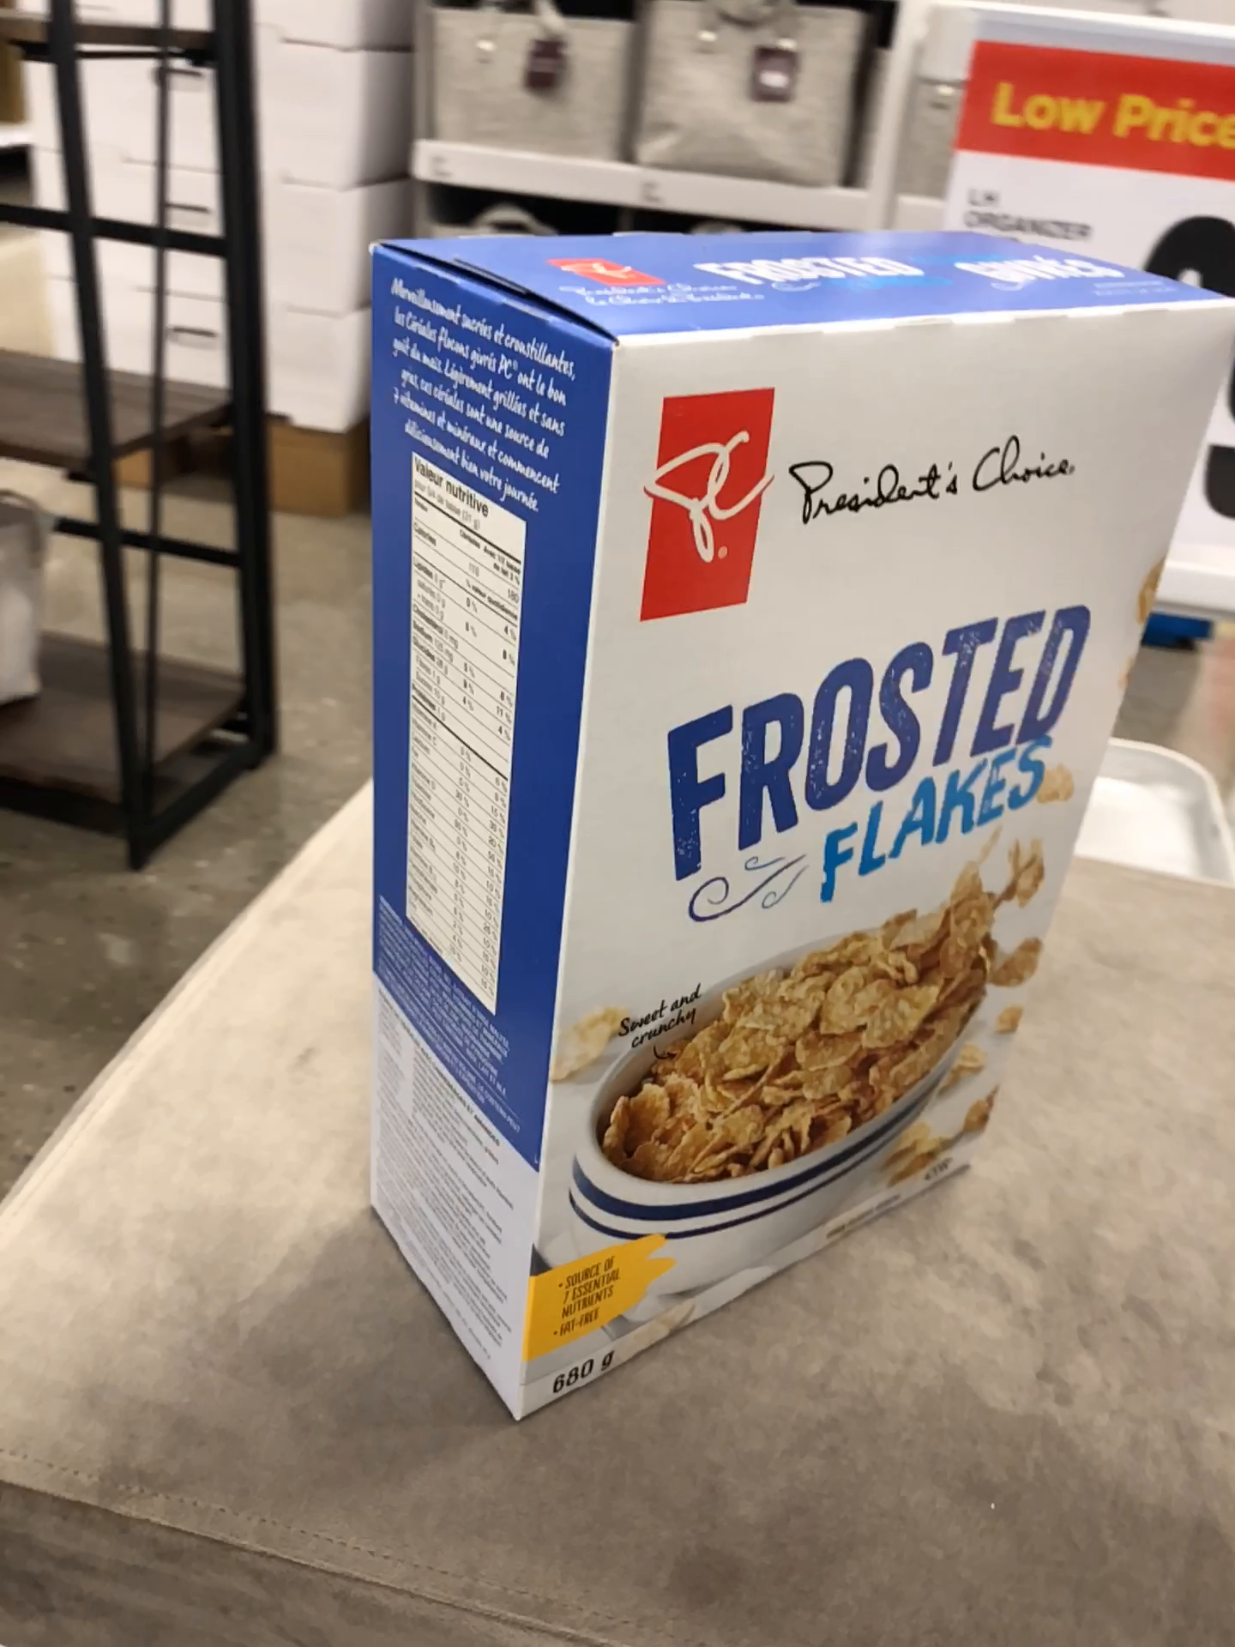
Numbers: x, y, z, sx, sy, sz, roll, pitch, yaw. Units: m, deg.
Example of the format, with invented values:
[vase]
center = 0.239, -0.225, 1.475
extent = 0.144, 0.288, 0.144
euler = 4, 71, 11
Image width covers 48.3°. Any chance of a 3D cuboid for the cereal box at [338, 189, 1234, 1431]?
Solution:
[cereal box]
center = 0.039, -0.010, 0.382
extent = 0.200, 0.289, 0.100
euler = -16, 37, -33
